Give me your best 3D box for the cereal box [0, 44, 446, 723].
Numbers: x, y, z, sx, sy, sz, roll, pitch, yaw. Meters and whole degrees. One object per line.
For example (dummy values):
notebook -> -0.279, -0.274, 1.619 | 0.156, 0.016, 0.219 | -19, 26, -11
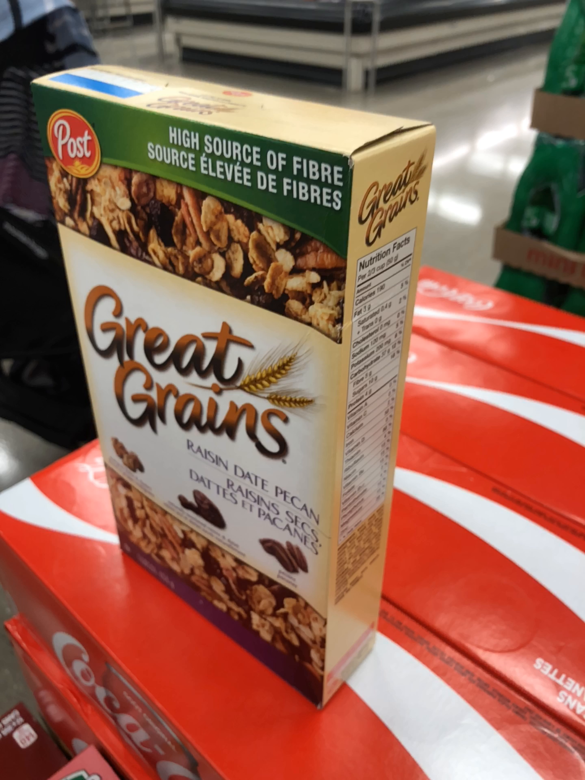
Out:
cereal box -> -0.034, 0.004, 0.300 | 0.170, 0.269, 0.050 | 26, 43, 34
